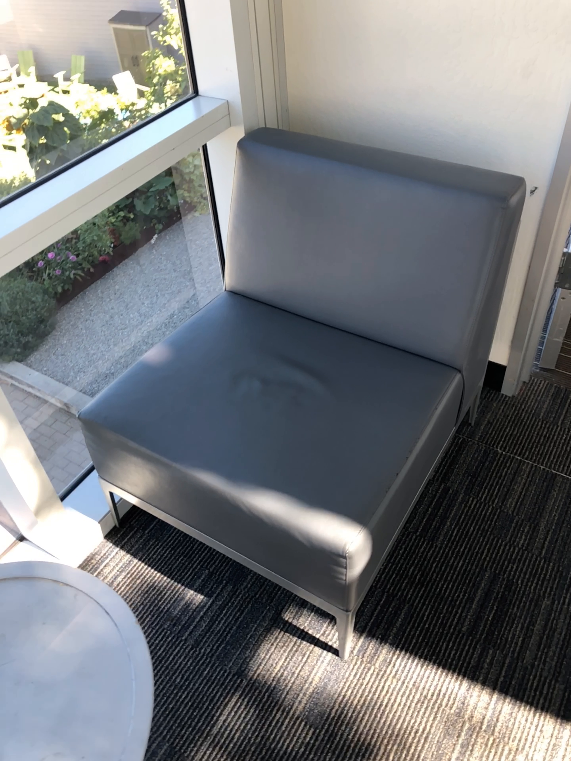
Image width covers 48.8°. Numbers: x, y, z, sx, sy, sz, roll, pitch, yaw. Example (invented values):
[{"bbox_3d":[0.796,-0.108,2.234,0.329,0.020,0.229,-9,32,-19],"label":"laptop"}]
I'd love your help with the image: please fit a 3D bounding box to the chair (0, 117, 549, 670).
[{"bbox_3d":[0.004,-0.036,1.400,0.772,0.707,0.752,22,49,26],"label":"chair"}]
